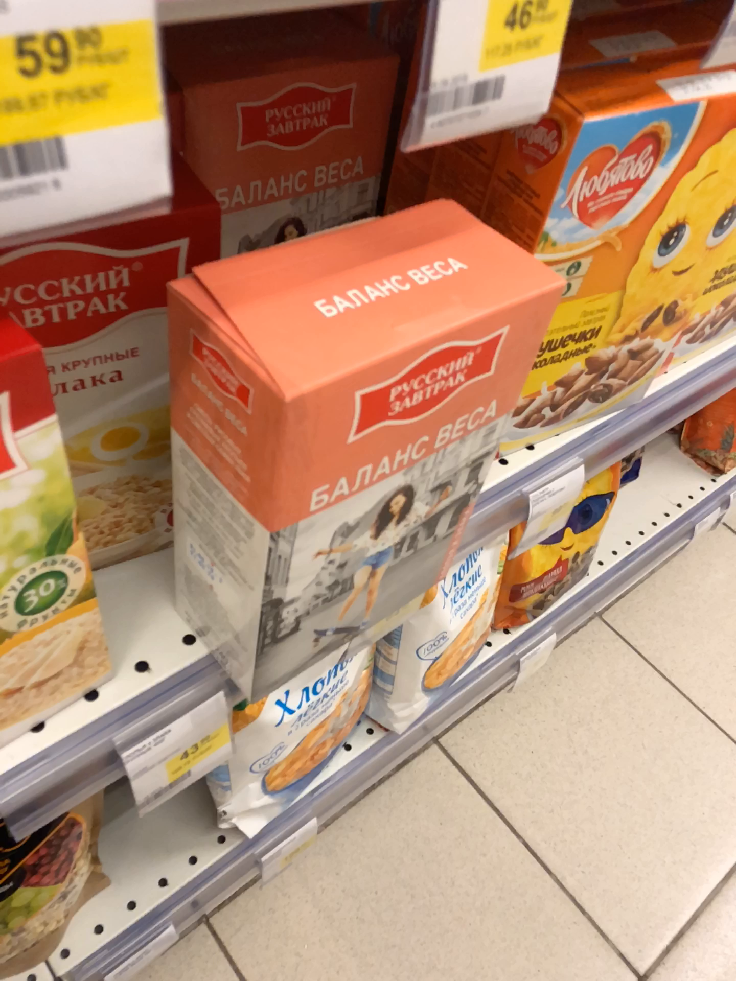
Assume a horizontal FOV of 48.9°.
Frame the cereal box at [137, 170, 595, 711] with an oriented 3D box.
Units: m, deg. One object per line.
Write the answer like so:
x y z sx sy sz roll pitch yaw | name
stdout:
-0.009 -0.016 0.331 0.140 0.179 0.070 -29 60 -32 | cereal box
